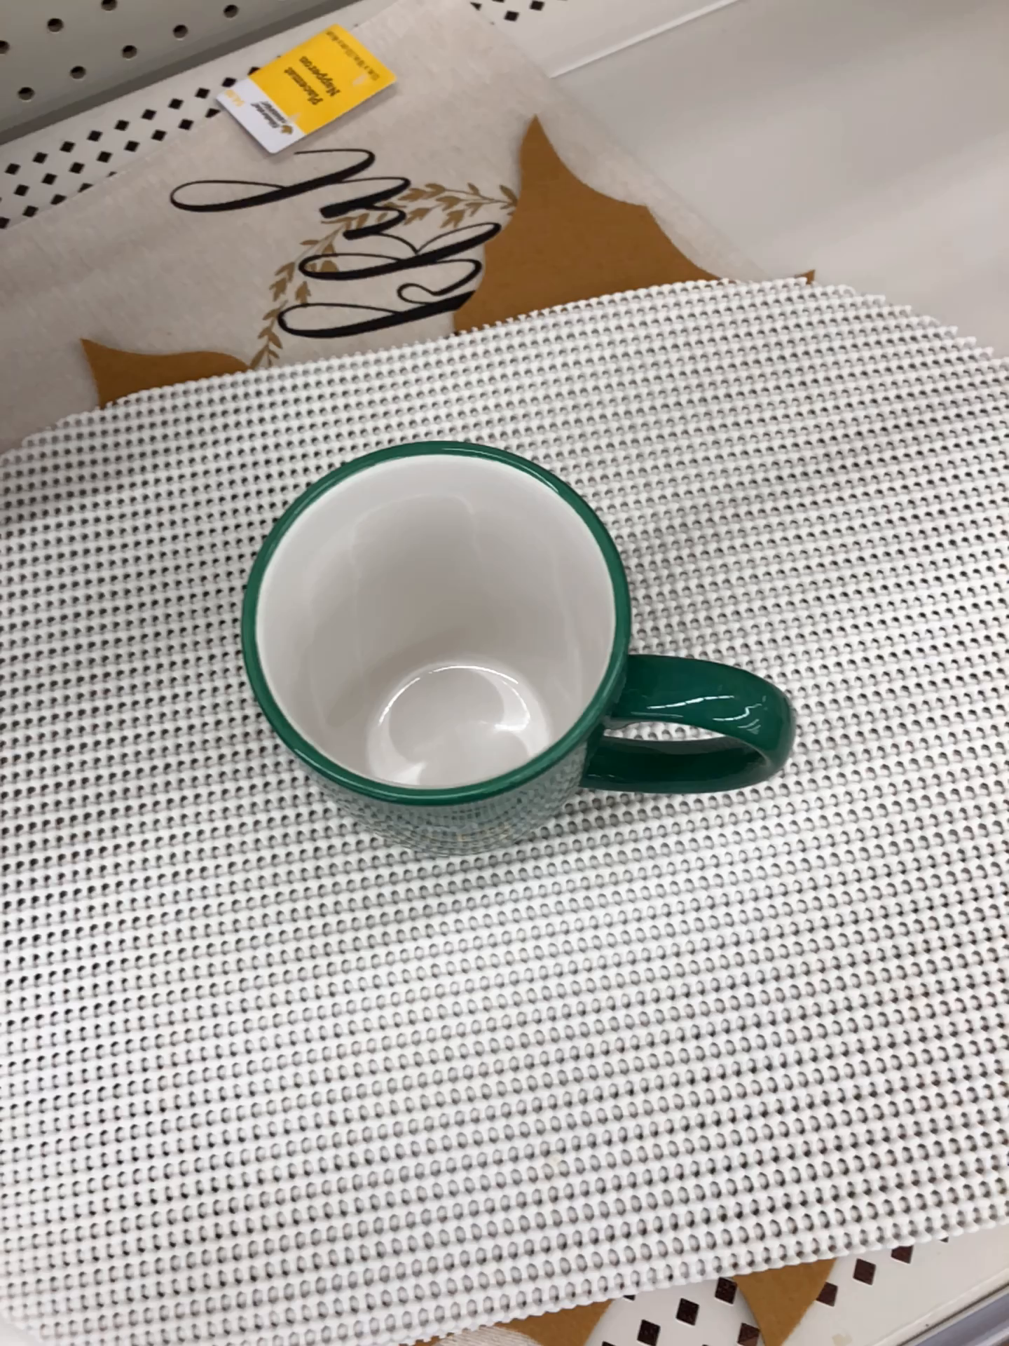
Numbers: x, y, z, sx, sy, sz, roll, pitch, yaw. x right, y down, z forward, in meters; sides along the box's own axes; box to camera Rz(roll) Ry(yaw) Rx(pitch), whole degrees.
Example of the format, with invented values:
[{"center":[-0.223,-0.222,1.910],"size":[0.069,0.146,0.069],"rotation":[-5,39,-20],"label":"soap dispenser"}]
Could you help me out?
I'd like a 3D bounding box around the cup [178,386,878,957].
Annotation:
[{"center":[0.010,0.007,0.303],"size":[0.140,0.110,0.100],"rotation":[10,71,7],"label":"cup"}]
